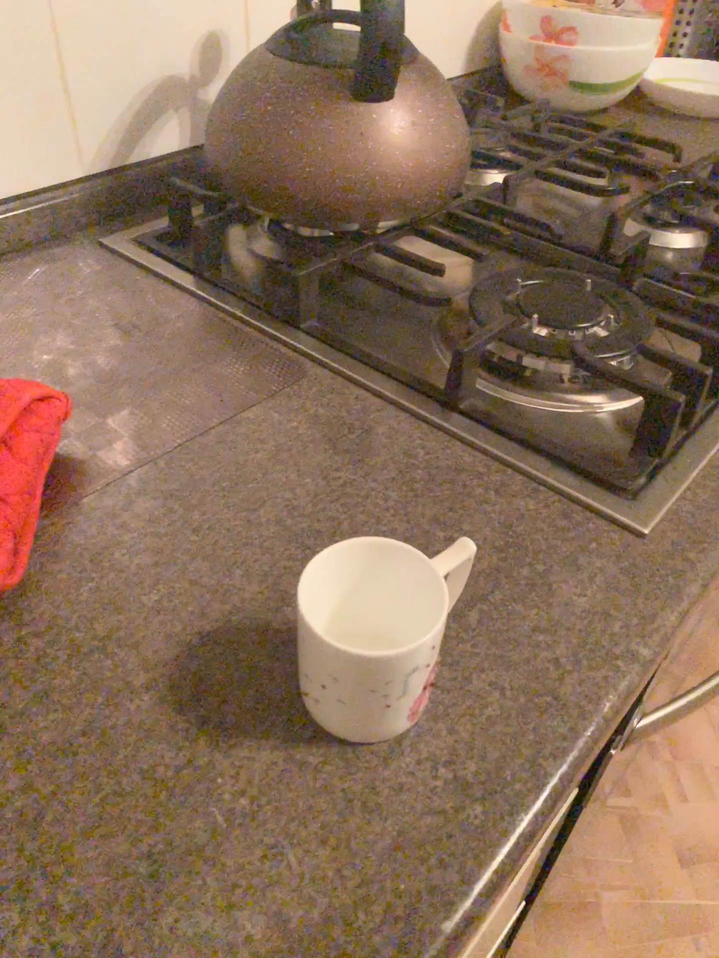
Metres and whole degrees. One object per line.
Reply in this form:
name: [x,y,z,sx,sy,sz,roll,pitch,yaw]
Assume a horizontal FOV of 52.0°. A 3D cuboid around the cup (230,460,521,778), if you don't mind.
cup: [0.007,0.051,0.292,0.064,0.061,0.090,33,49,30]
